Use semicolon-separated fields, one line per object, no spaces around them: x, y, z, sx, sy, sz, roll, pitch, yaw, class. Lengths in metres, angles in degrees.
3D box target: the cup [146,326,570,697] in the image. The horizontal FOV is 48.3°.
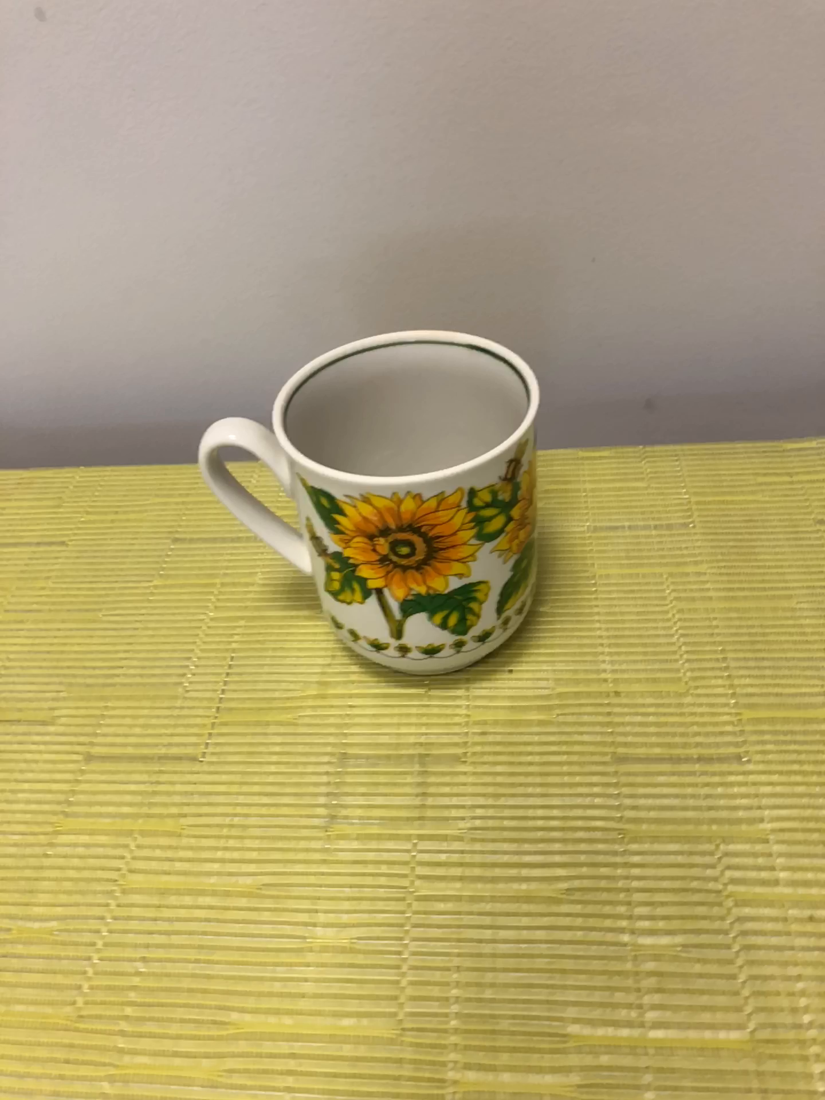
-0.008;-0.016;0.309;0.116;0.084;0.088;2;40;10;cup
